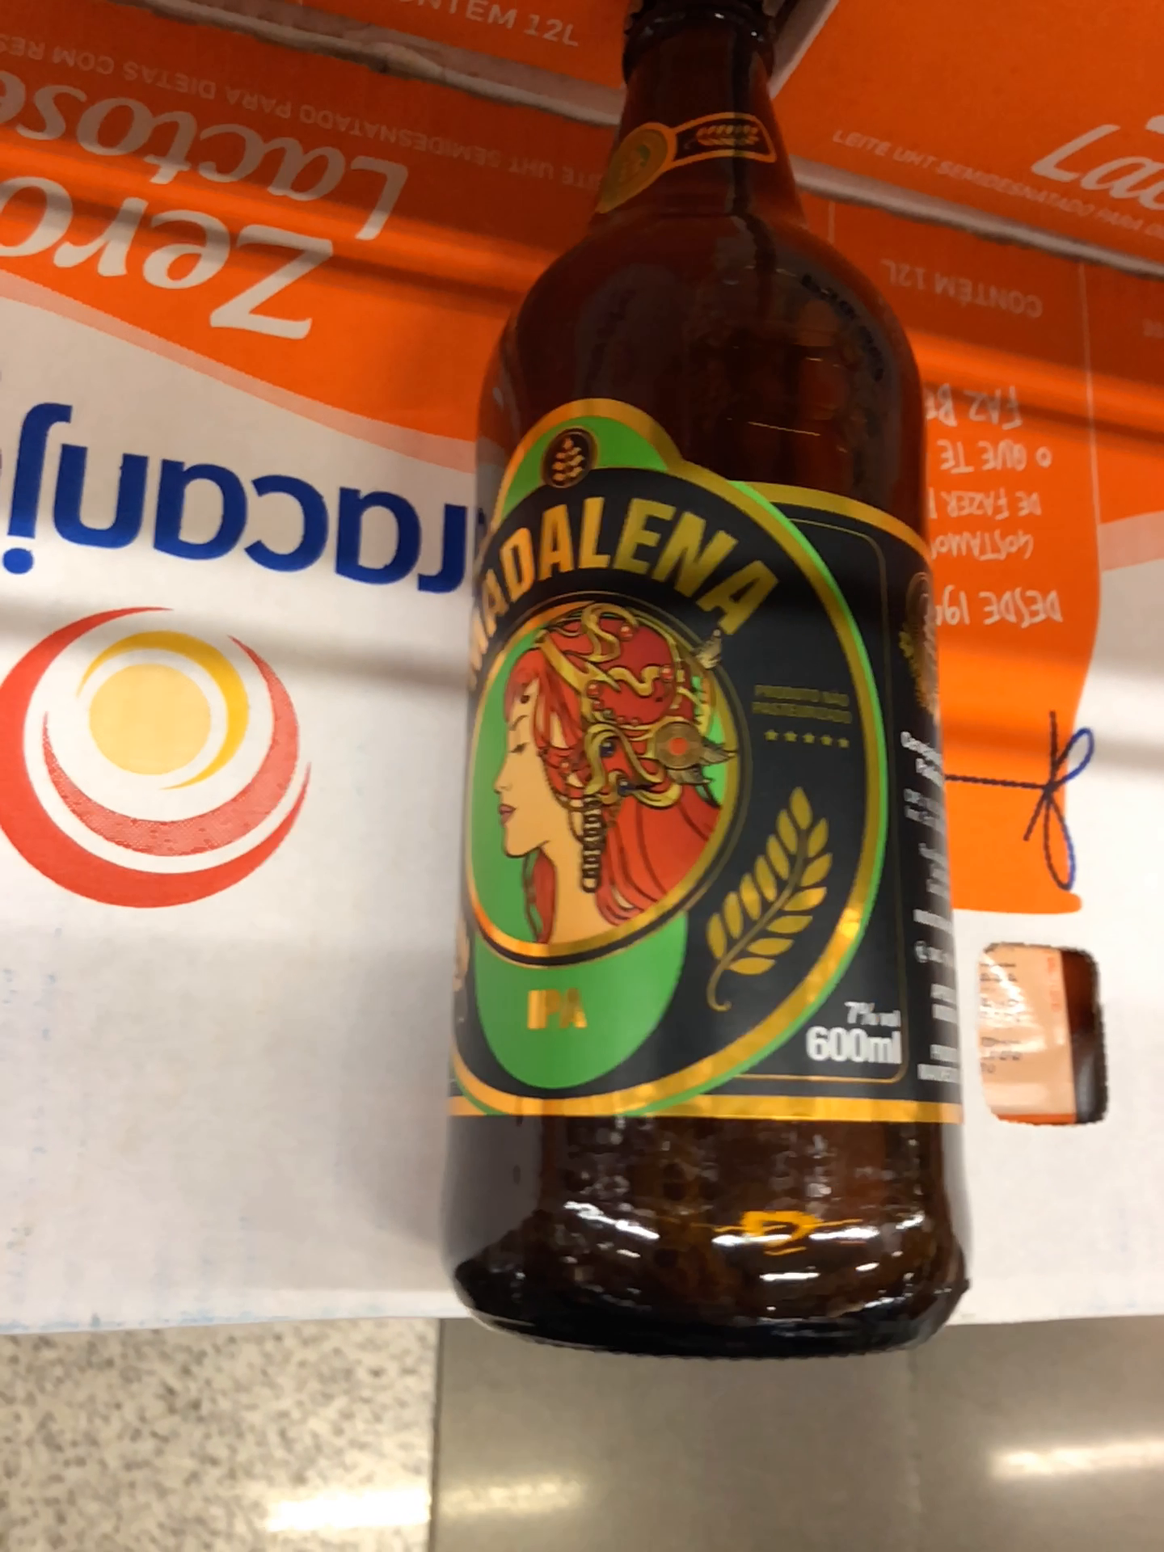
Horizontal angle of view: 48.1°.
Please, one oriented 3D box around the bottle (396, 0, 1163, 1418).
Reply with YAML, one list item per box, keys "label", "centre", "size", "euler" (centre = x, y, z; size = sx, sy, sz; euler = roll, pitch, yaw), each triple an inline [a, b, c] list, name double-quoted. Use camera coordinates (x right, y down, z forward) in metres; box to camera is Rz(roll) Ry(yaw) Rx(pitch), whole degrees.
- label: "bottle"
  centre: [0.029, -0.051, 0.227]
  size: [0.100, 0.060, 0.280]
  euler: [5, 75, -17]
